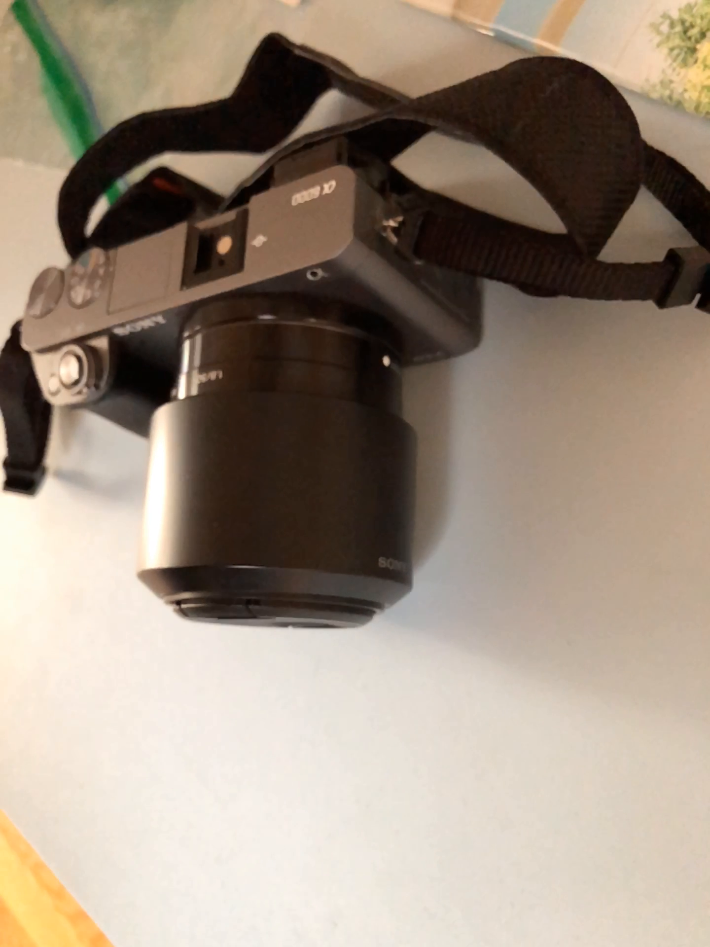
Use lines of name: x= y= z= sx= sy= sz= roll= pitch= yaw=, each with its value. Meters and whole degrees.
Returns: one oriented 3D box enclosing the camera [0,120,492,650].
camera: x=-0.036 y=-0.010 z=0.225 sx=0.130 sy=0.070 sz=0.110 roll=-6 pitch=74 yaw=33
